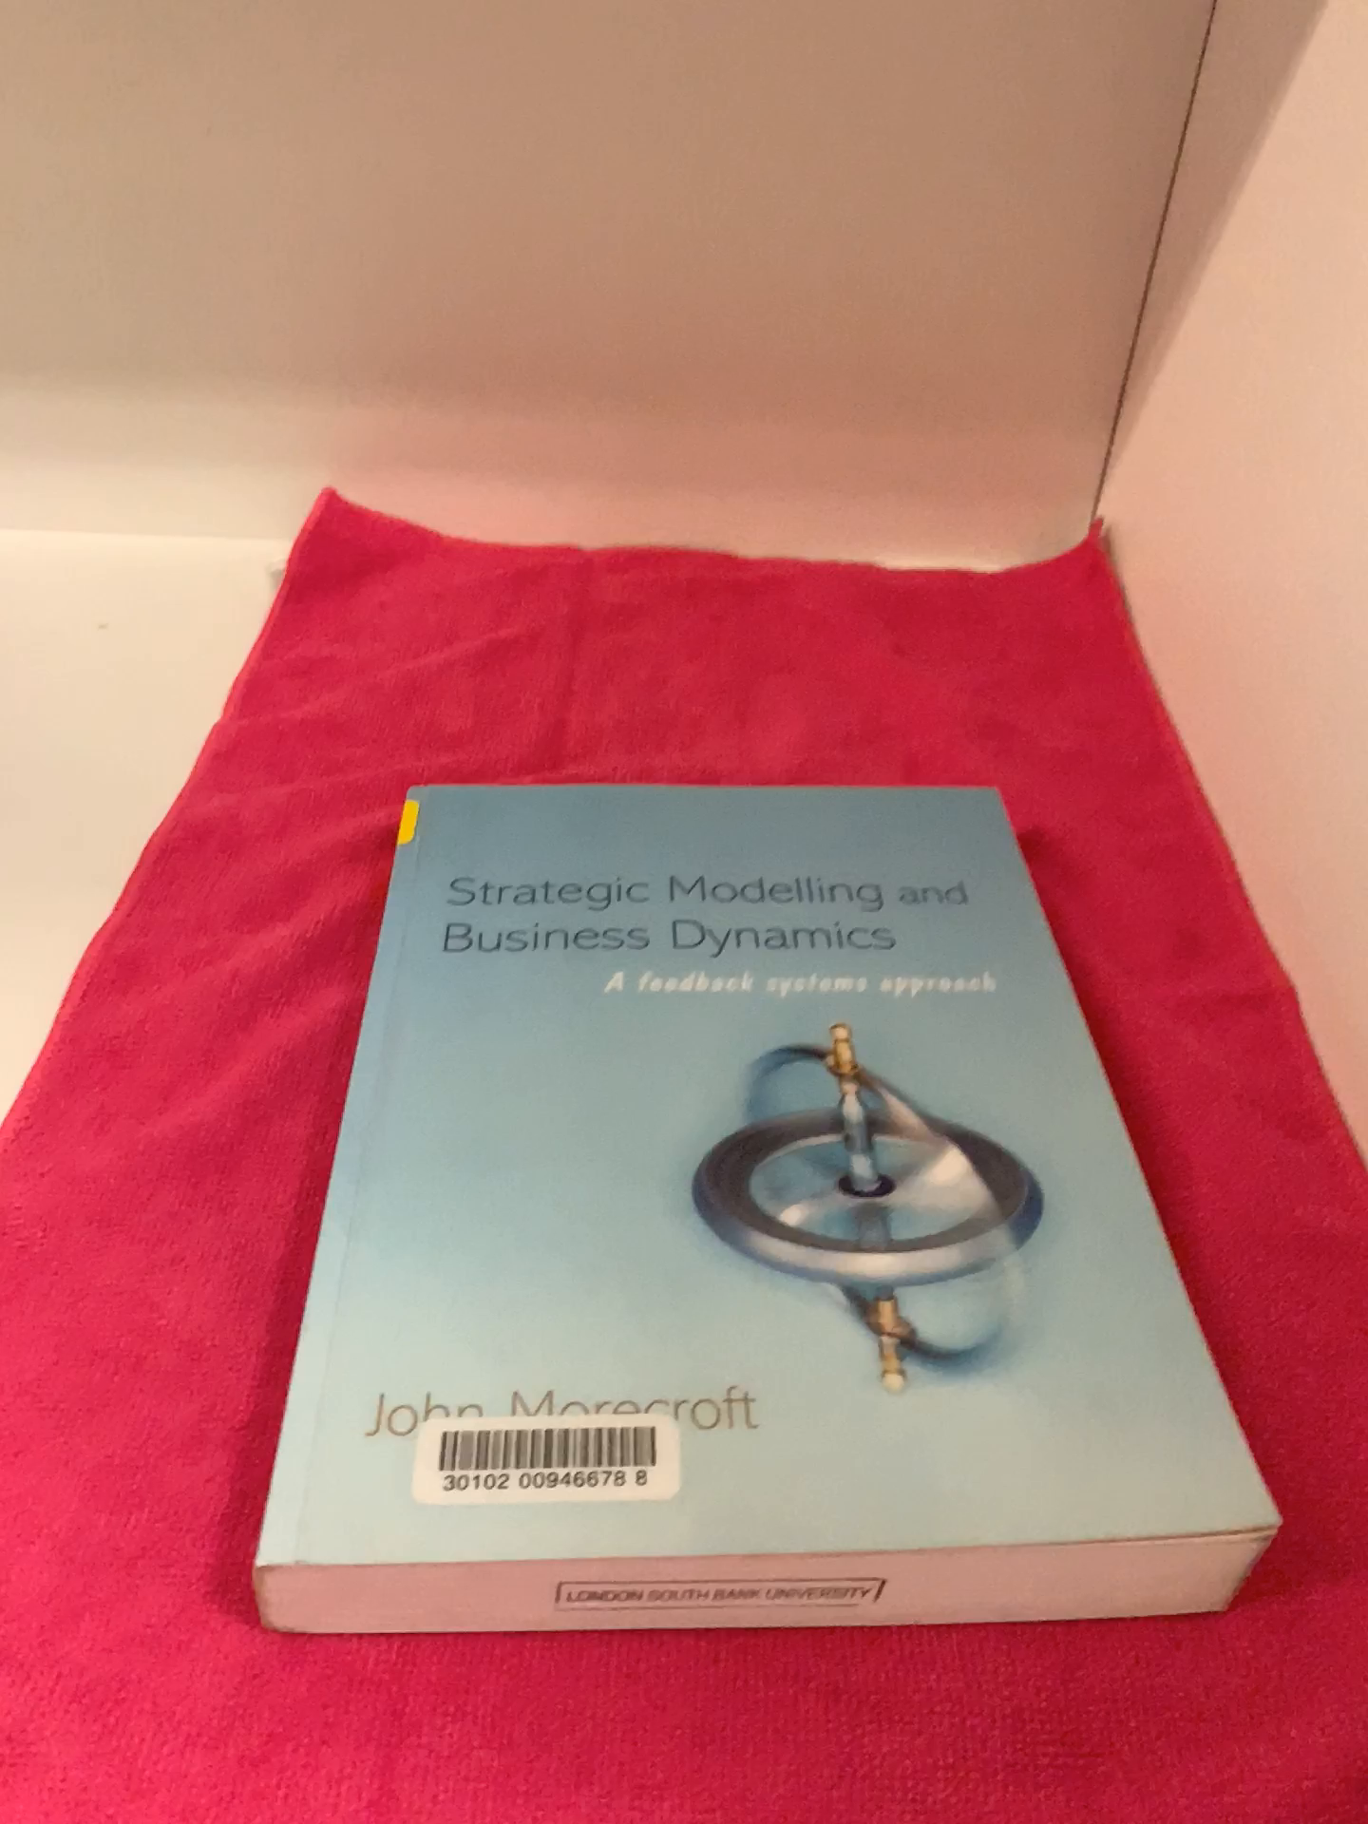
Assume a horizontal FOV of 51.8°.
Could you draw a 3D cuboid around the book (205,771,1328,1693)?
[{"bbox_3d":[0.011,0.050,0.348,0.193,0.033,0.252,0,40,-3],"label":"book"}]
